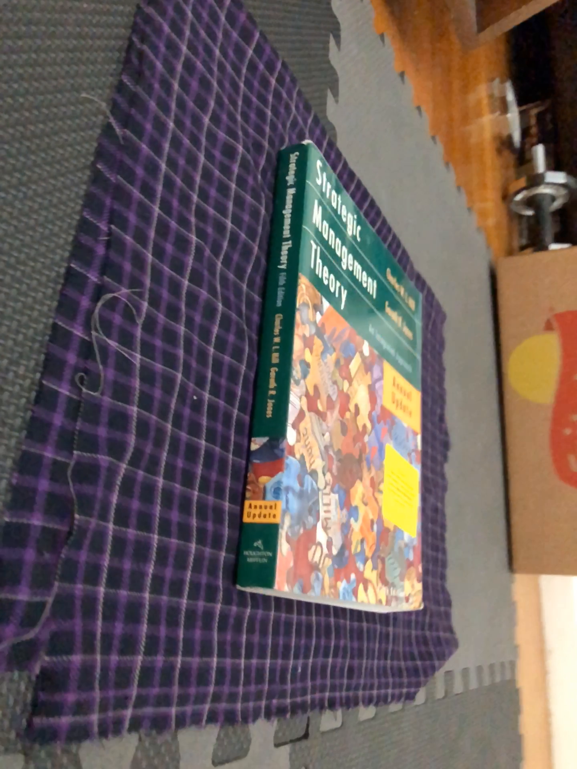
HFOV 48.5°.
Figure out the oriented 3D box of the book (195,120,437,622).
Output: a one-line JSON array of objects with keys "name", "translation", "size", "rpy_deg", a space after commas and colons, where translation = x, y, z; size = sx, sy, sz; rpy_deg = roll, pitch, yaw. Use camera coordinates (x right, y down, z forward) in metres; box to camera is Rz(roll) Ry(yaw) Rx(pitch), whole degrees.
[{"name": "book", "translation": [0.044, 0.010, 0.447], "size": [0.231, 0.040, 0.280], "rpy_deg": [35, 56, -53]}]
